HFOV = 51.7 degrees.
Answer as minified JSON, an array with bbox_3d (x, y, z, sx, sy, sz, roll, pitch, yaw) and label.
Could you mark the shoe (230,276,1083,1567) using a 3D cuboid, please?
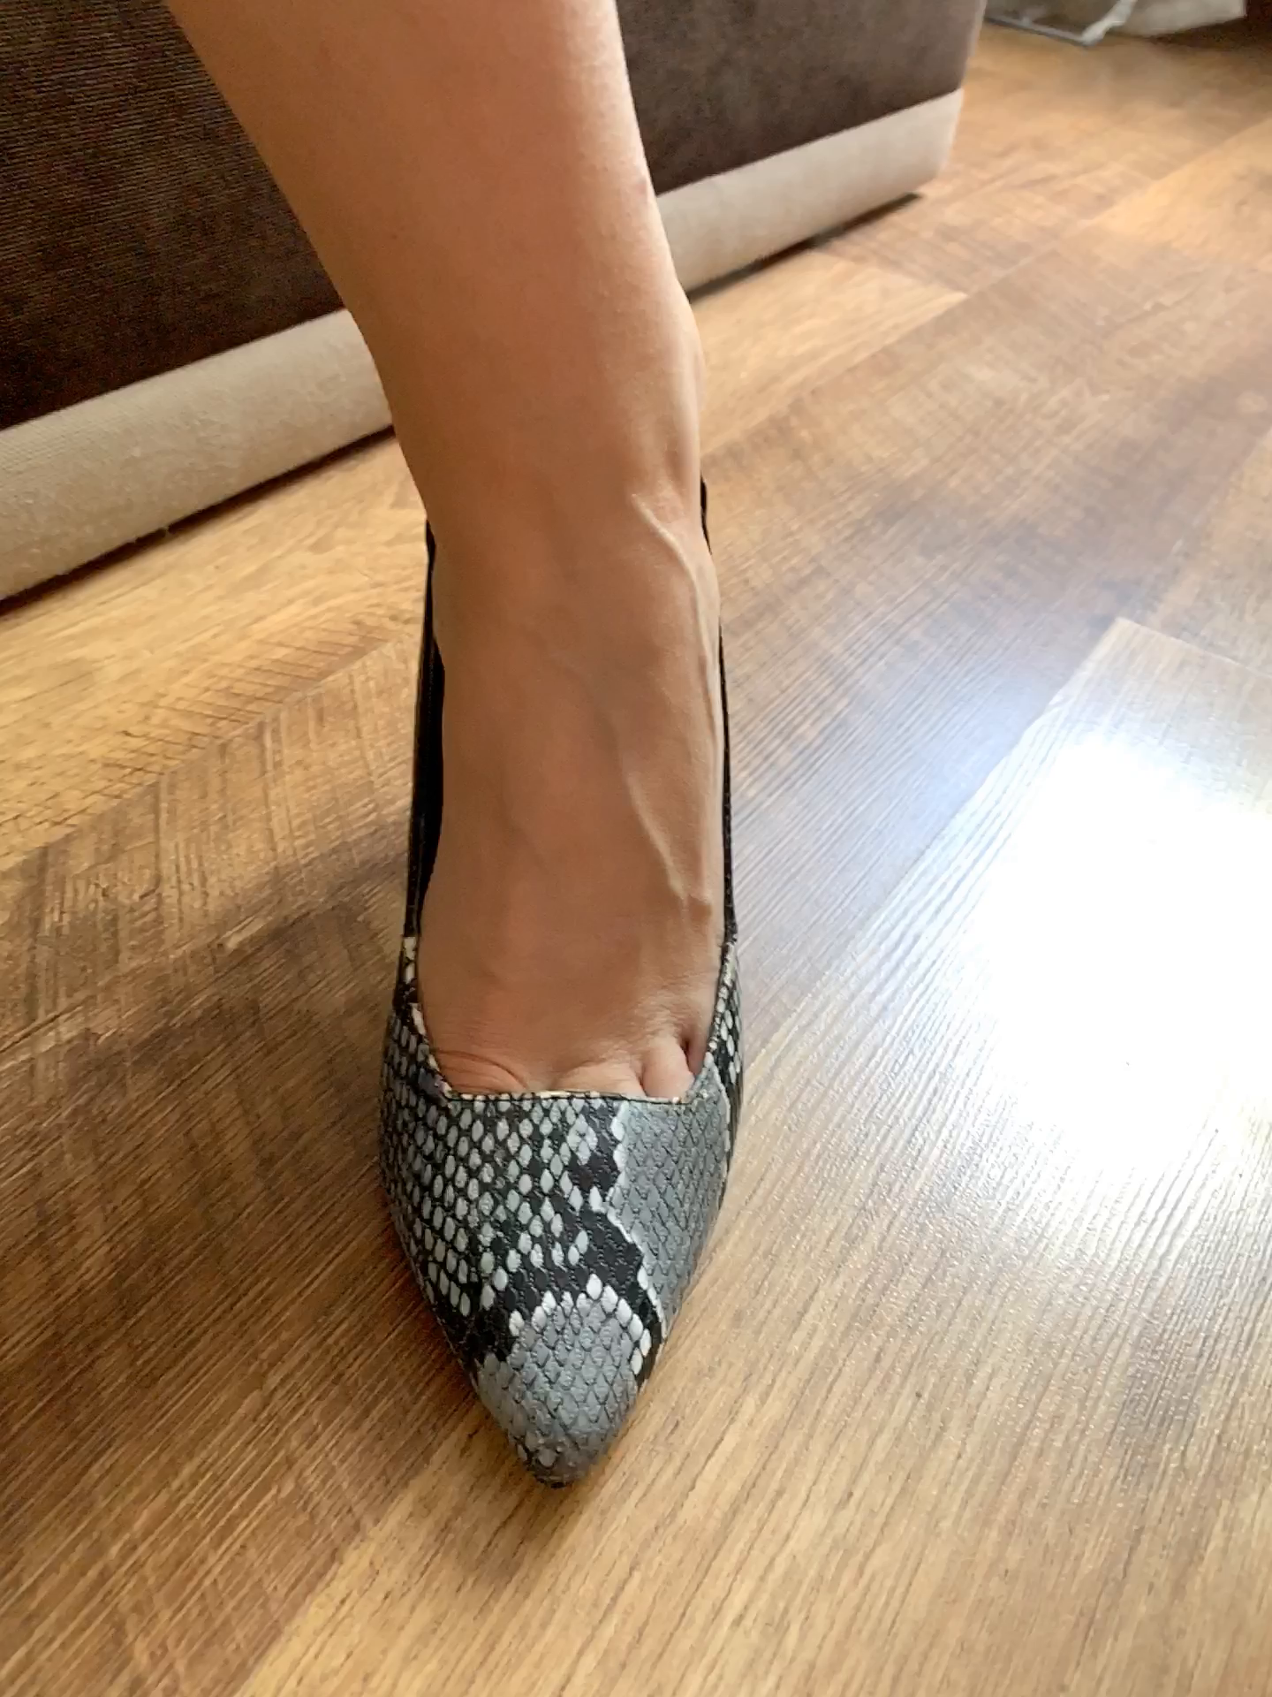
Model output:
[{"bbox_3d":[-0.014,-0.014,0.266,0.090,0.109,0.251,0,42,-8],"label":"shoe"}]
